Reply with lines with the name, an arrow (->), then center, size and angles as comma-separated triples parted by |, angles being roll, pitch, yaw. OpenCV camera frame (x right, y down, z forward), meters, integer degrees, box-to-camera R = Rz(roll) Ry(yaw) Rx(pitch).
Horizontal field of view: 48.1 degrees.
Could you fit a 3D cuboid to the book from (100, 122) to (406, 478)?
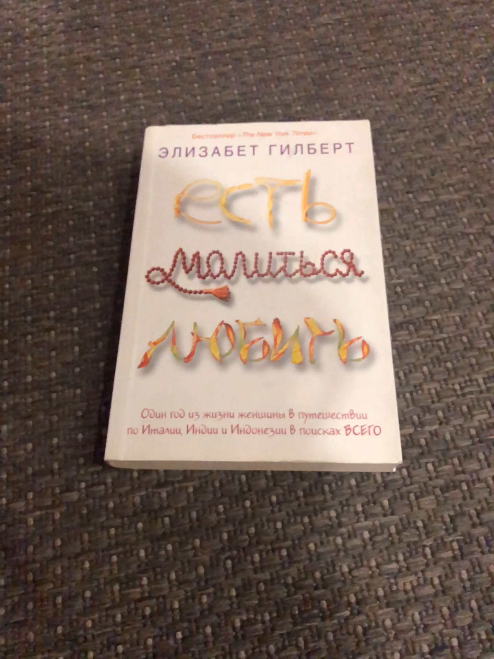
book -> 0.004, -0.026, 0.320 | 0.142, 0.041, 0.211 | 0, 65, 2
